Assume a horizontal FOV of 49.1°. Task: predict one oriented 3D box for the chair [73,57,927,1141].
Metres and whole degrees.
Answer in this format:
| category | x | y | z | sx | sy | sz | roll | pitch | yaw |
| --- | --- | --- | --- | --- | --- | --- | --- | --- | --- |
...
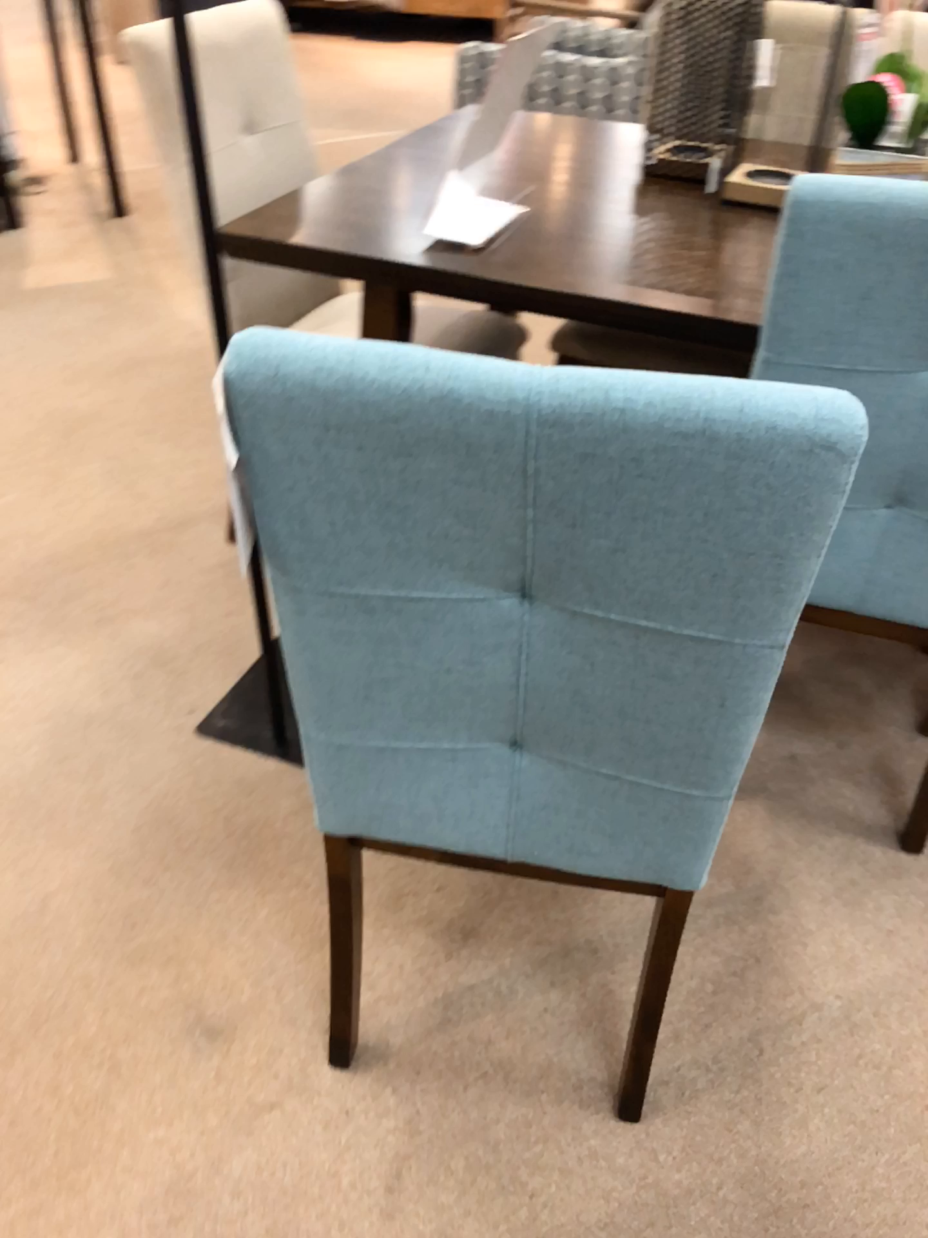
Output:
| category | x | y | z | sx | sy | sz | roll | pitch | yaw |
| --- | --- | --- | --- | --- | --- | --- | --- | --- | --- |
| chair | 0.069 | 0.002 | 1.155 | 0.540 | 0.993 | 0.624 | 8 | 40 | 8 |
